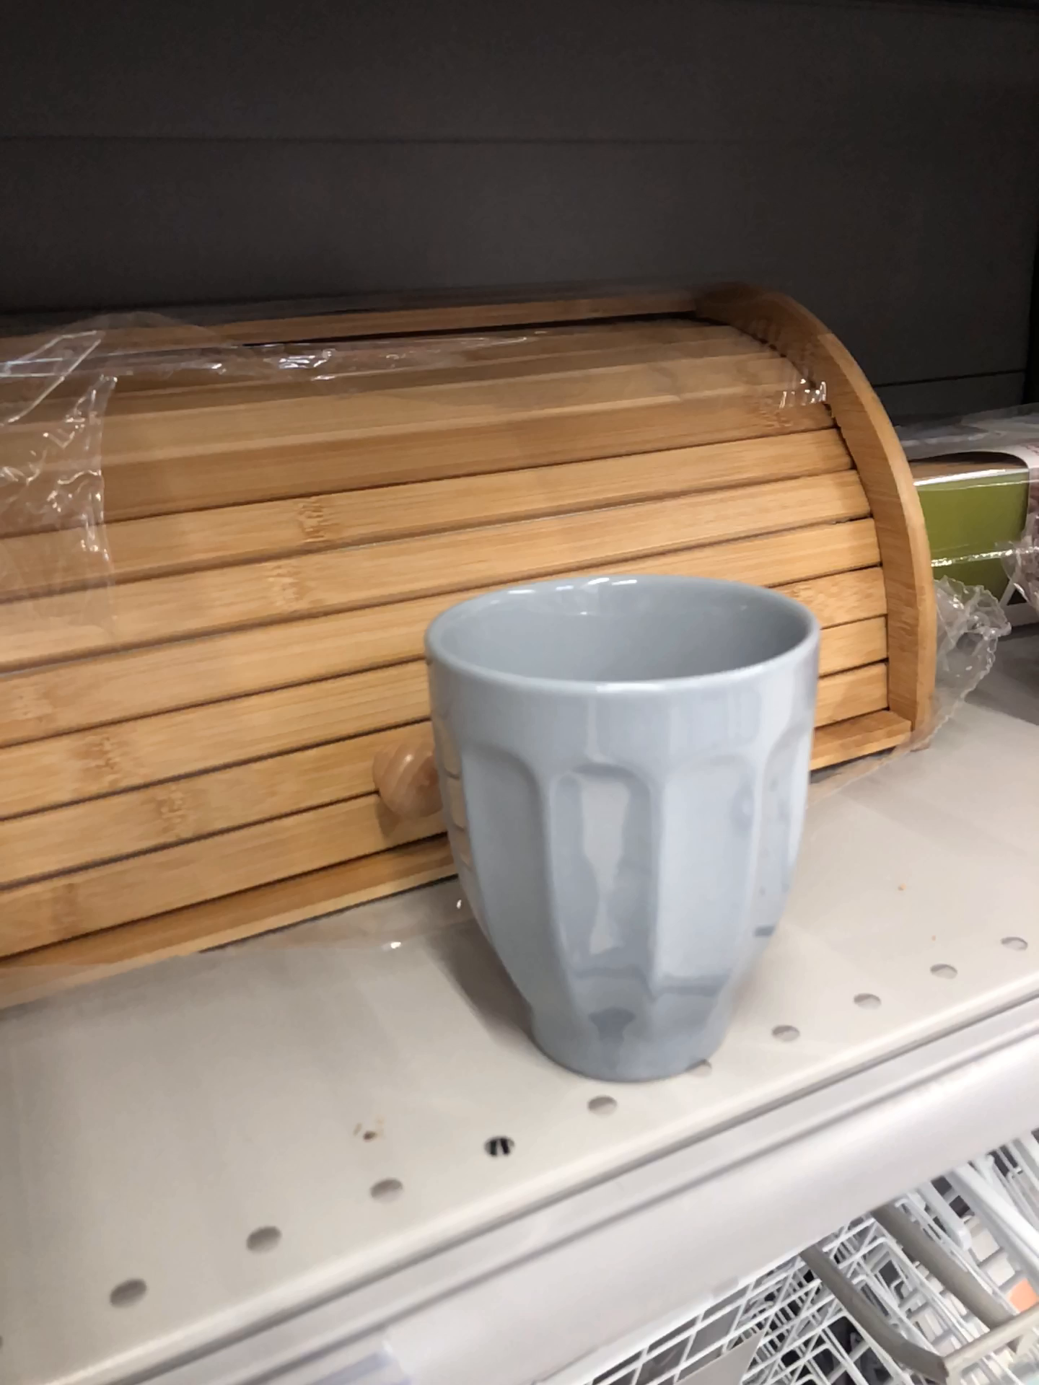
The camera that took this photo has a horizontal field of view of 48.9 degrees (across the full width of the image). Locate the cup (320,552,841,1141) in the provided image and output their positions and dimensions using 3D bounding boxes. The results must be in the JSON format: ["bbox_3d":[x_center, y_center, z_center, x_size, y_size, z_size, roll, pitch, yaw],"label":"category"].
[{"bbox_3d":[0.018,0.026,0.272,0.092,0.091,0.117,0,21,7],"label":"cup"}]
